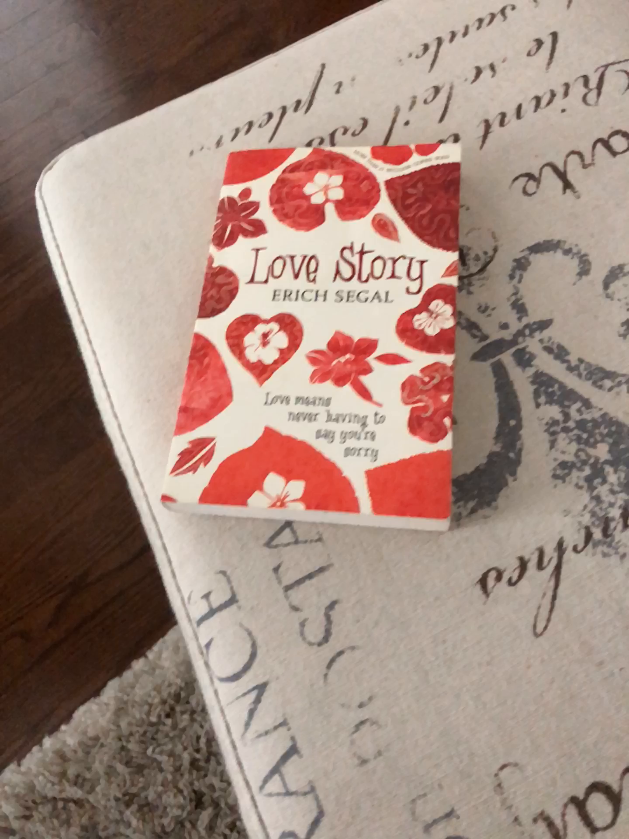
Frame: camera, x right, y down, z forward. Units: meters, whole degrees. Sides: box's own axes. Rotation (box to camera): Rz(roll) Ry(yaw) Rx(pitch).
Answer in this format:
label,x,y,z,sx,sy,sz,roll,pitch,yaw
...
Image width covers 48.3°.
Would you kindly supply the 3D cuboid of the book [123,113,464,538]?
label,x,y,z,sx,sy,sz,roll,pitch,yaw
book,0.000,-0.049,0.293,0.120,0.020,0.188,2,66,9
